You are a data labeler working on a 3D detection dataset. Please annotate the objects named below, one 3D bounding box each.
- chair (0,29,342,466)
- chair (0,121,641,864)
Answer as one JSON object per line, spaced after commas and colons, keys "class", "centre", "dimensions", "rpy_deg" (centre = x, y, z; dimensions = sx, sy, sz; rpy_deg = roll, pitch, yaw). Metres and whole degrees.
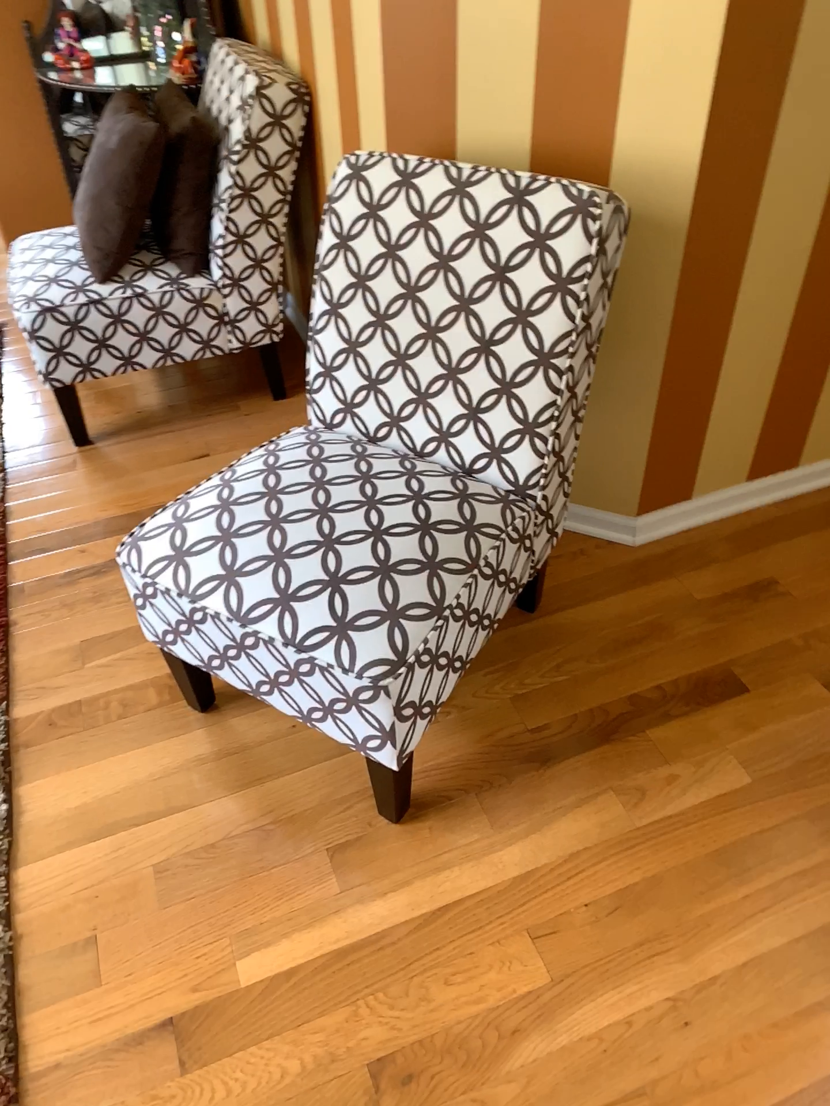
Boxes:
{"class": "chair", "centre": [-0.699, -0.824, 2.235], "dimensions": [0.796, 0.833, 0.596], "rpy_deg": [-15, 41, -15]}
{"class": "chair", "centre": [-0.126, -0.156, 1.350], "dimensions": [0.623, 0.774, 0.740], "rpy_deg": [22, 45, 28]}
